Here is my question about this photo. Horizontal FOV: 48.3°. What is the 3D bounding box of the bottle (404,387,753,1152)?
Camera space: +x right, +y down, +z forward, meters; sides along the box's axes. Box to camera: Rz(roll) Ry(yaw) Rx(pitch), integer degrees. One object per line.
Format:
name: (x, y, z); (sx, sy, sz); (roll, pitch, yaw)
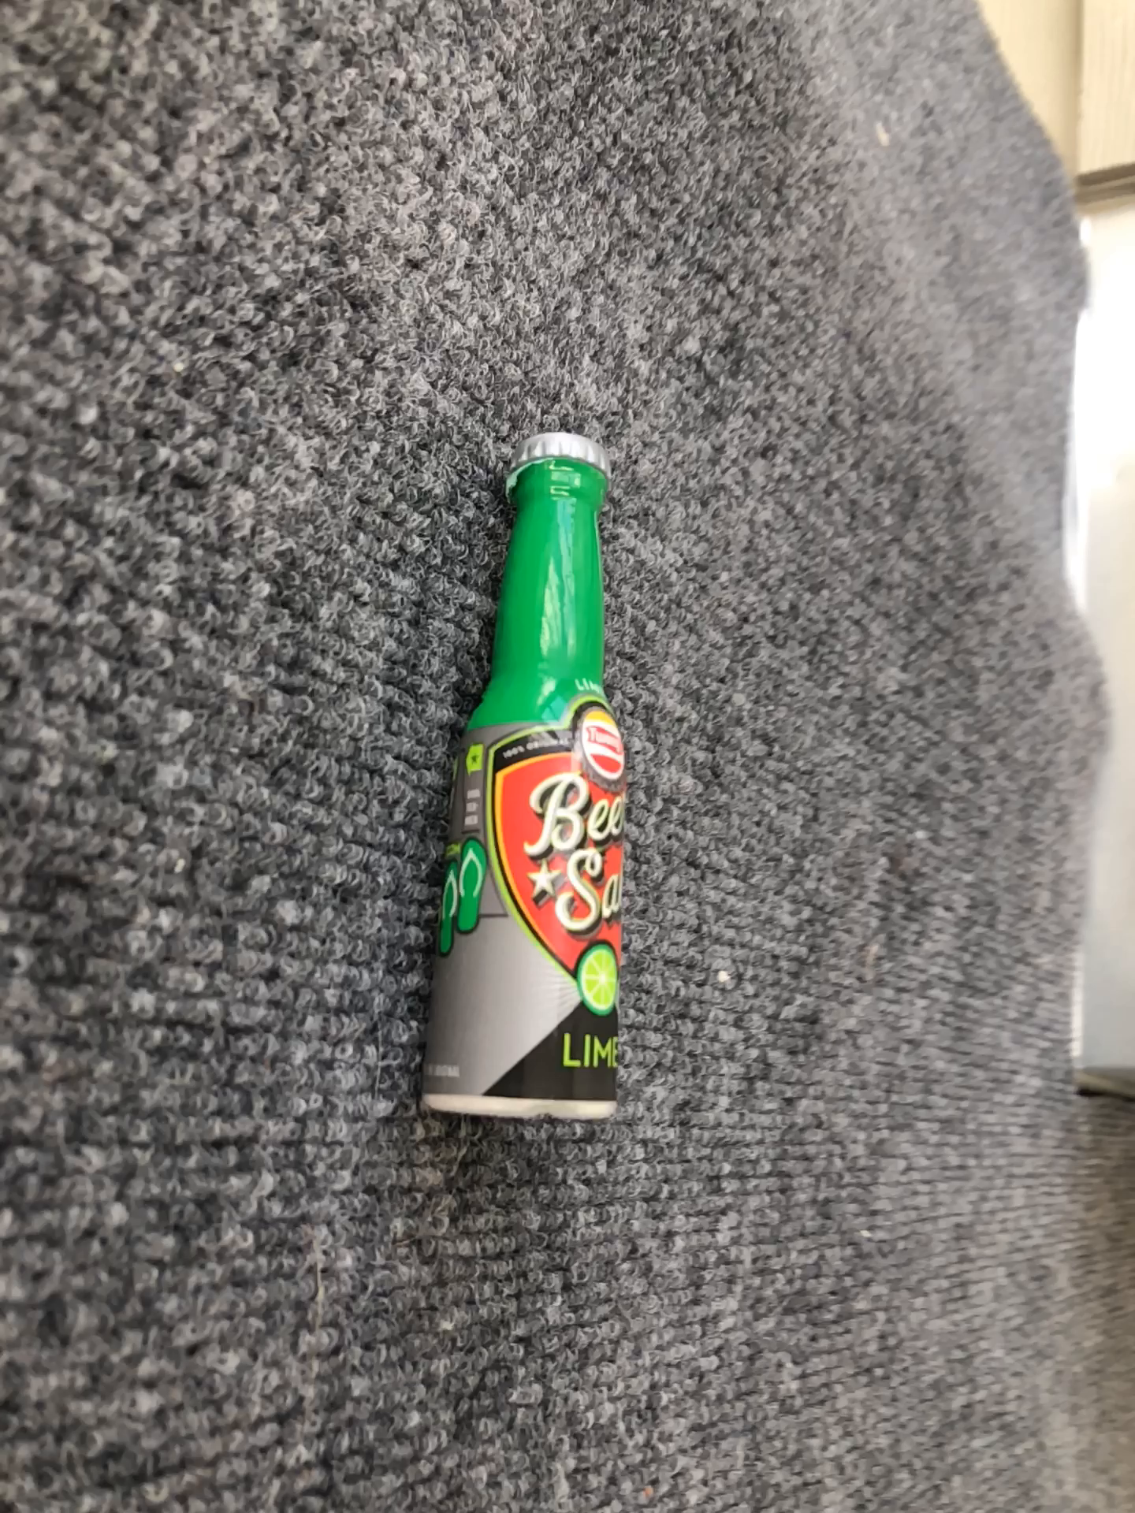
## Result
bottle: (0.004, 0.003, 0.185); (0.033, 0.030, 0.101); (21, 70, -54)
